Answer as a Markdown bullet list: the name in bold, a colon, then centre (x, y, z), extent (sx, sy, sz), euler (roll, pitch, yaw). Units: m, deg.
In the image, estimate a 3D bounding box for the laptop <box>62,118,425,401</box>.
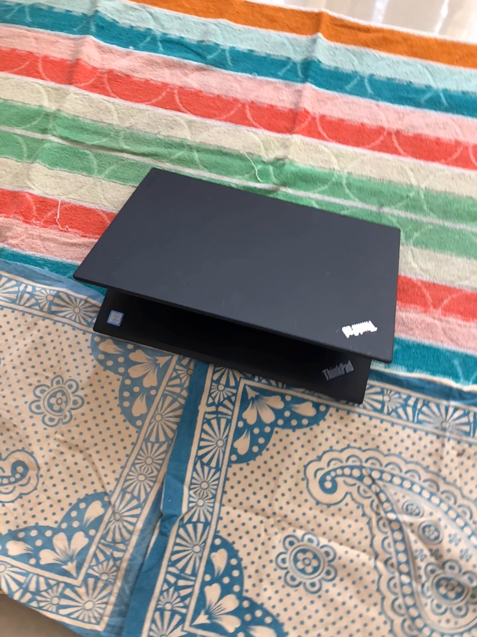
- **laptop**: centre (0.017, -0.068, 0.640), extent (0.345, 0.122, 0.243), euler (15, 73, 3)
